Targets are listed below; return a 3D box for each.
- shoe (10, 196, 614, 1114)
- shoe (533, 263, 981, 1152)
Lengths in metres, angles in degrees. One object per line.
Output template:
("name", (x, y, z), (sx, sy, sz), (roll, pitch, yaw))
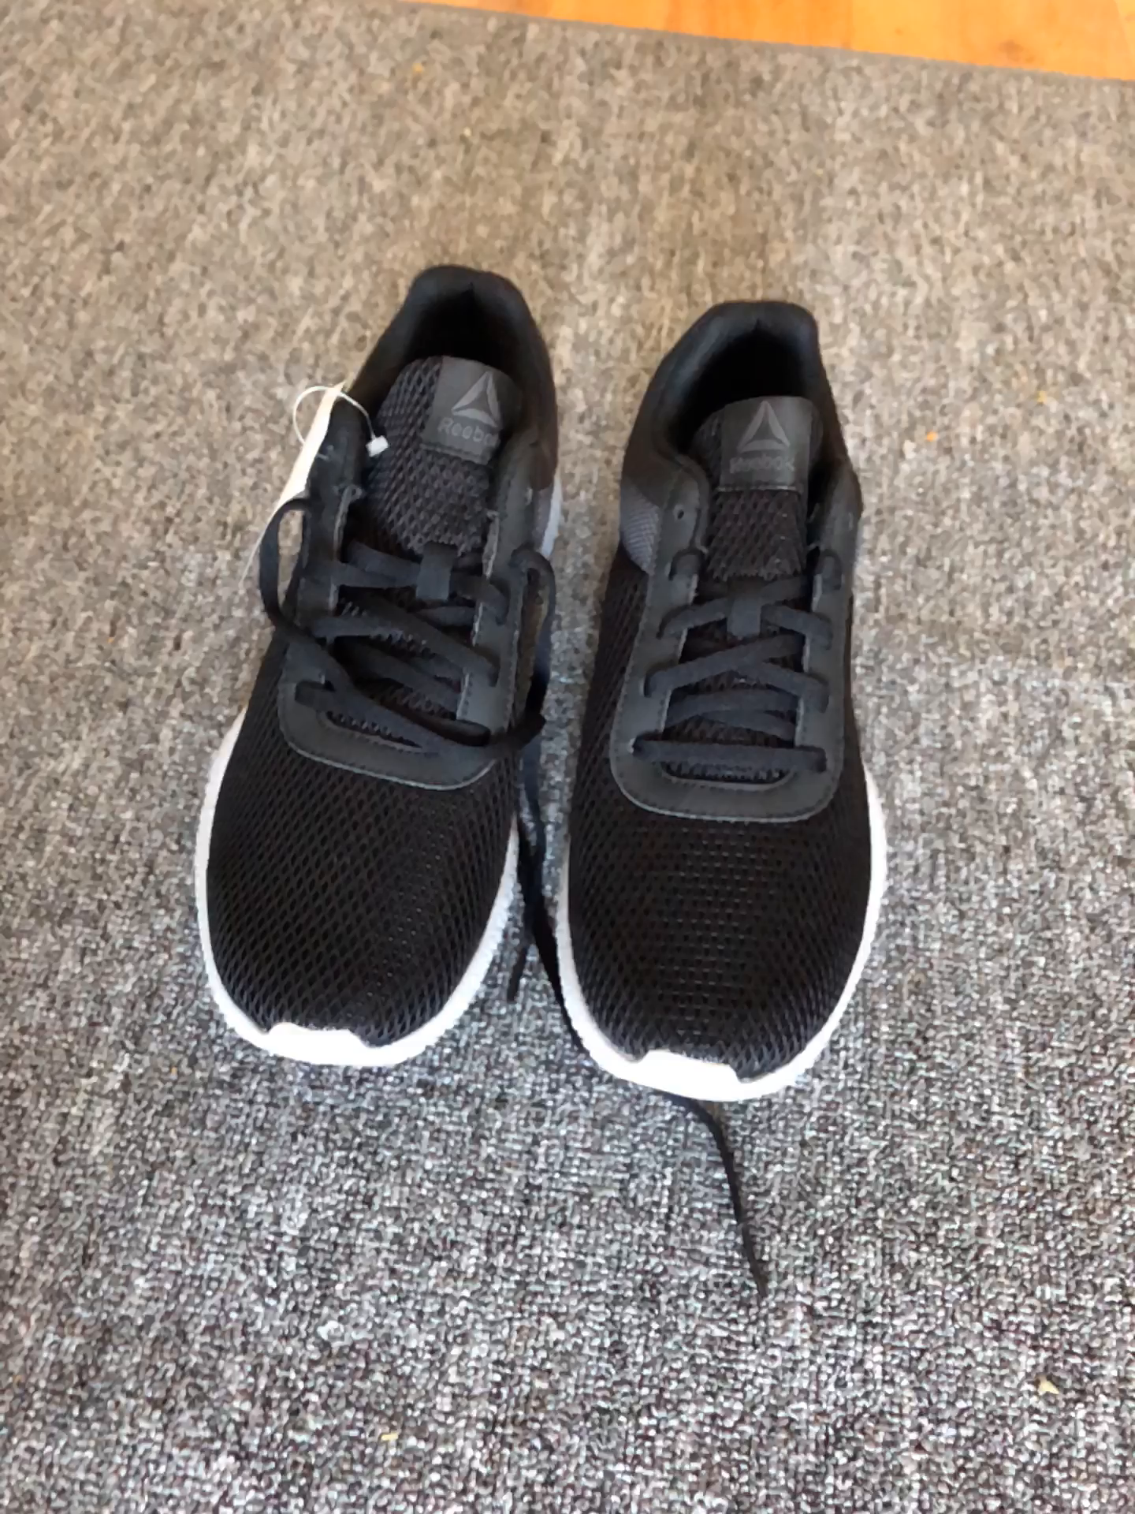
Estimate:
("shoe", (-0.060, -0.051, 0.425), (0.116, 0.099, 0.302), (7, 56, 2))
("shoe", (0.059, -0.033, 0.440), (0.110, 0.099, 0.302), (6, 56, 1))
